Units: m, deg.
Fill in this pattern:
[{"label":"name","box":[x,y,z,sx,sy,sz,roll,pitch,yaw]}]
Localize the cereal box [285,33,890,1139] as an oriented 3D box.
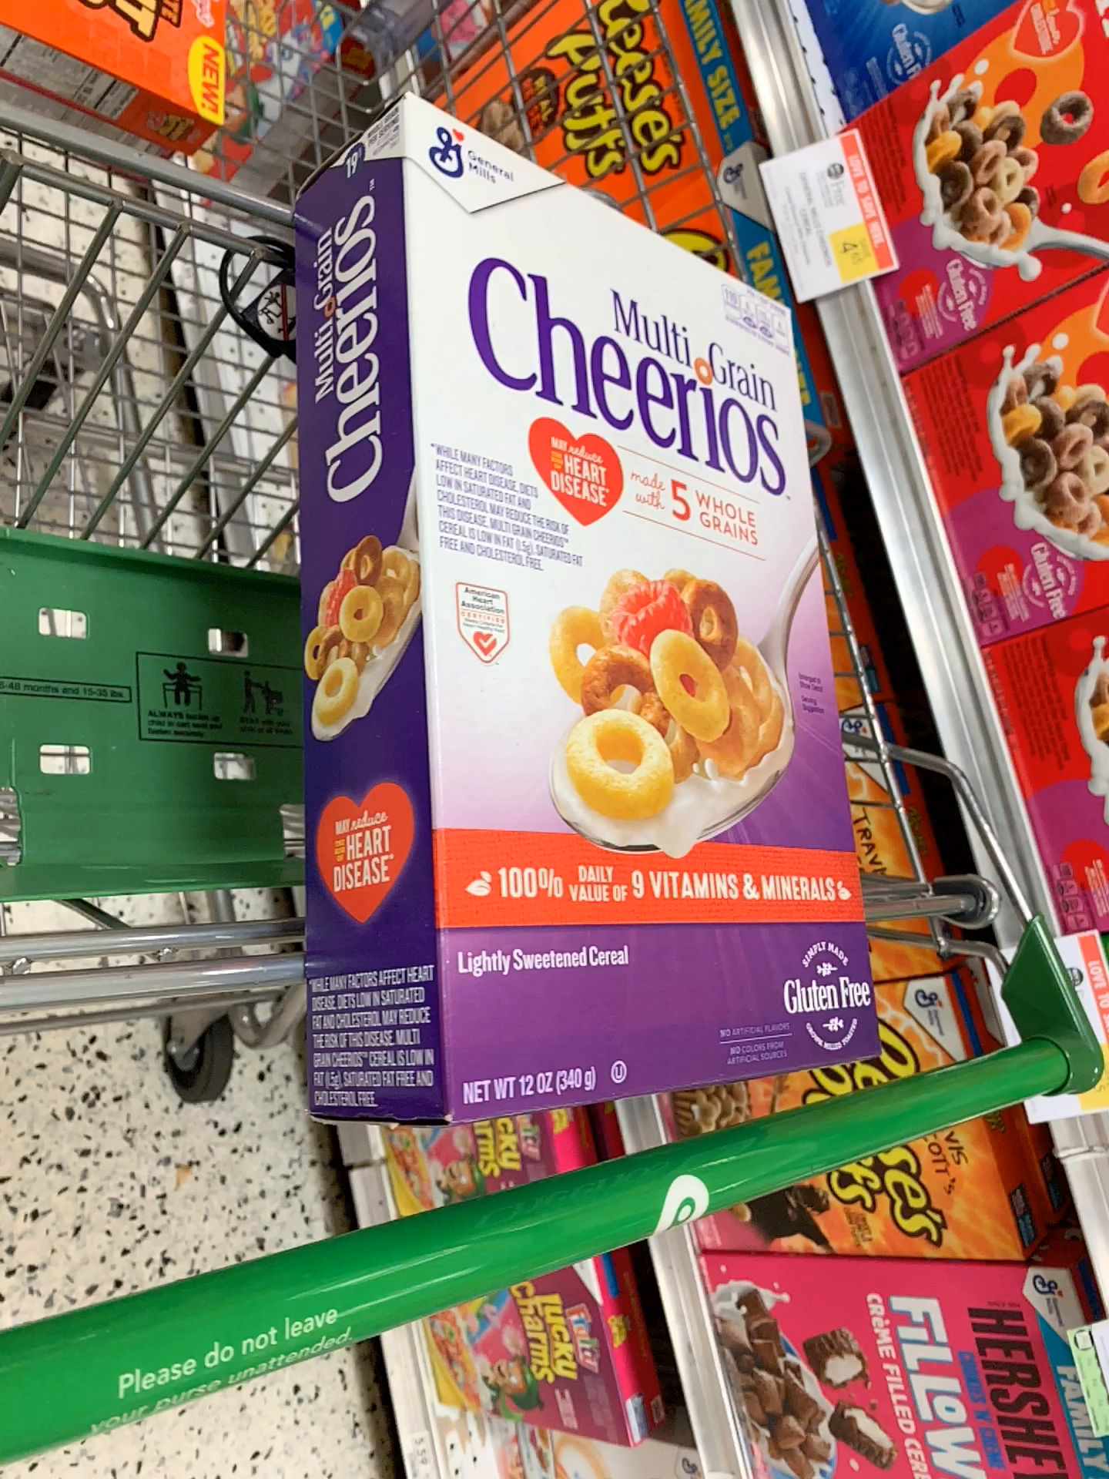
[{"label":"cereal box","box":[0.014,-0.043,0.407,0.201,0.069,0.321,8,73,-43]}]
